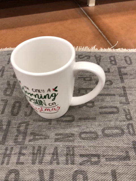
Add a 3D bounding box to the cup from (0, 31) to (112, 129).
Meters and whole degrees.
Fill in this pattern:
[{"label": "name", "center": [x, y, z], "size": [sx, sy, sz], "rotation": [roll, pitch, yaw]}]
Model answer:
[{"label": "cup", "center": [-0.018, -0.015, 0.223], "size": [0.140, 0.100, 0.090], "rotation": [5, 49, 7]}]
